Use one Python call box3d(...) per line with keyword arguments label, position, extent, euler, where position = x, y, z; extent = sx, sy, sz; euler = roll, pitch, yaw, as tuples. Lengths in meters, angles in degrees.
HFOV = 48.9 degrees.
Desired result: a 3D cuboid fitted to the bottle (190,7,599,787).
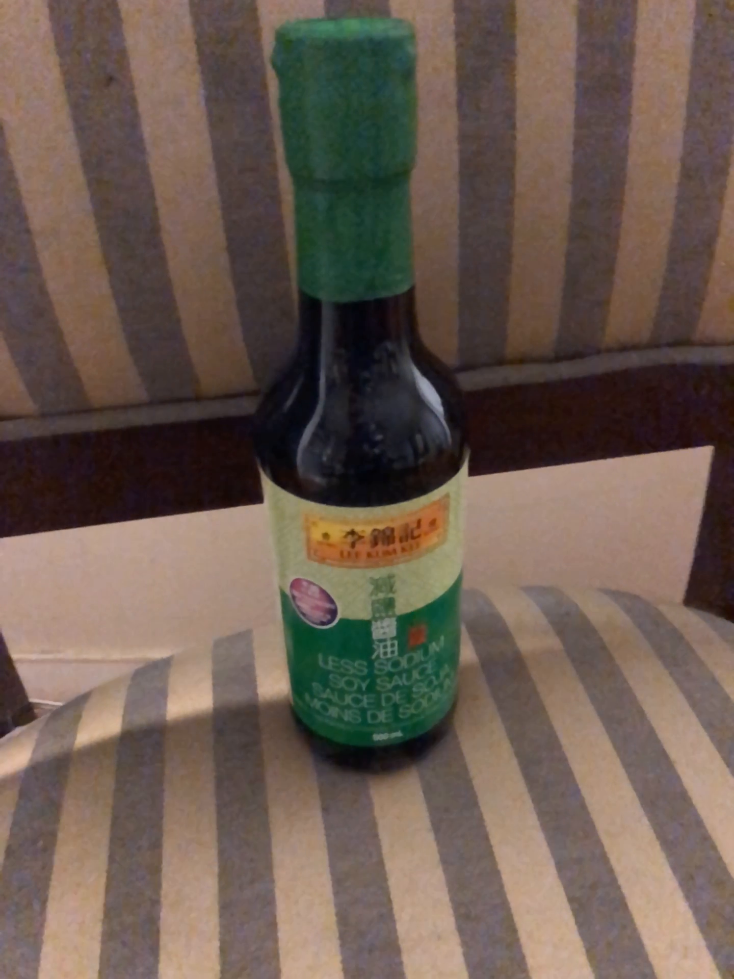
box3d(label="bottle", position=(0.005, -0.012, 0.251), extent=(0.080, 0.228, 0.070), euler=(-6, 36, -5))
